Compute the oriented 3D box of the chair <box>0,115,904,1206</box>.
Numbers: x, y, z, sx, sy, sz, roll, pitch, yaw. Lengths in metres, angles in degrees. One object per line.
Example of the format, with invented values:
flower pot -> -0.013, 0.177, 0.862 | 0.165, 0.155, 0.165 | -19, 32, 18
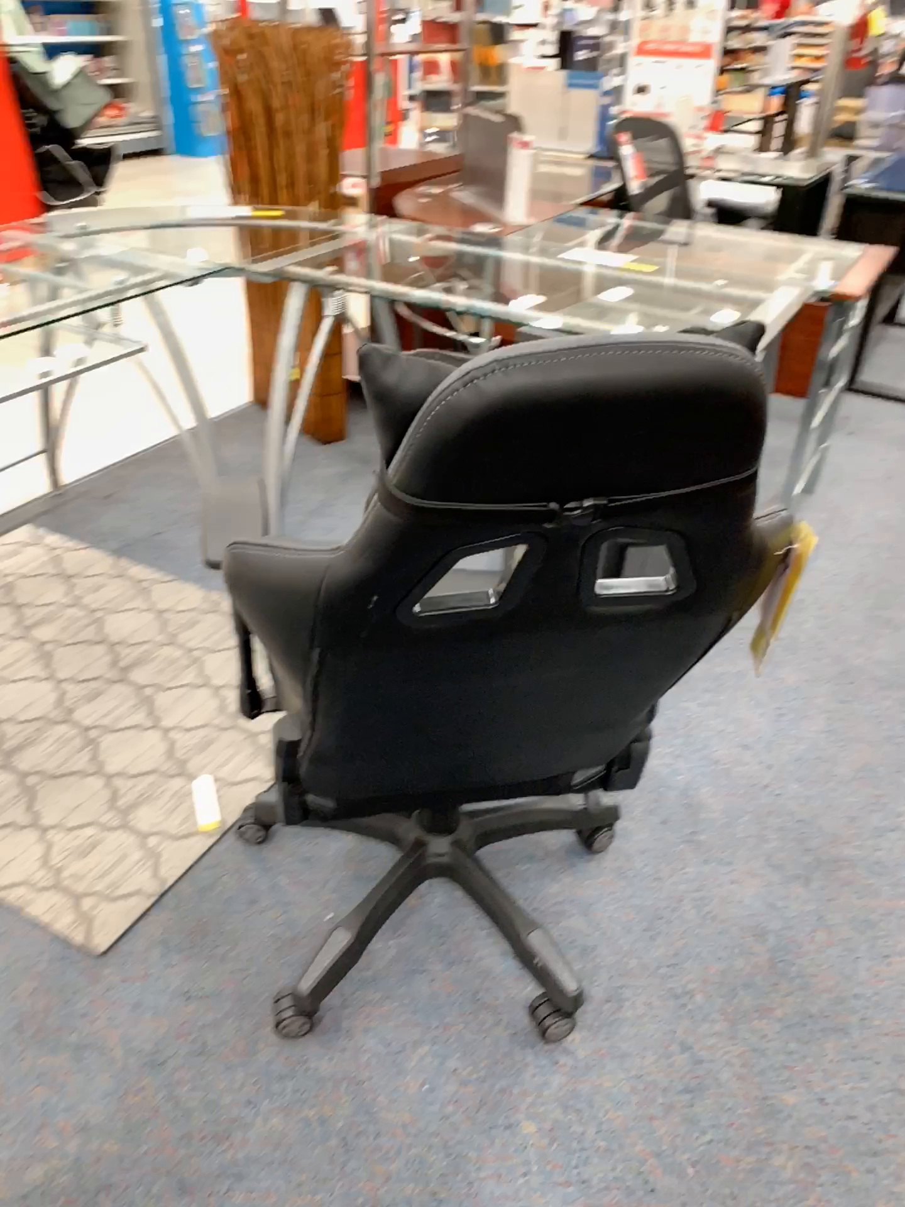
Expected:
chair -> 0.005, 0.016, 1.203 | 0.785, 1.061, 0.916 | -5, 34, -11
